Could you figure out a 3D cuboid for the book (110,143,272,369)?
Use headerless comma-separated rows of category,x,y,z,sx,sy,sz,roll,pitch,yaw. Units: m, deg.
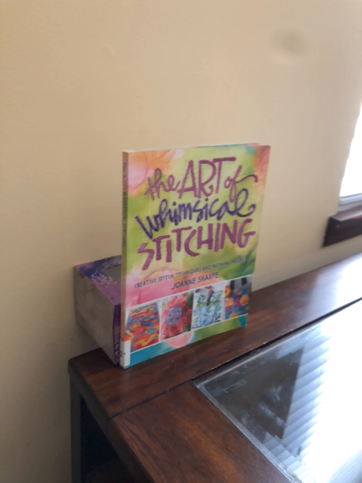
book,0.016,0.012,0.520,0.214,0.263,0.029,-11,23,-32
